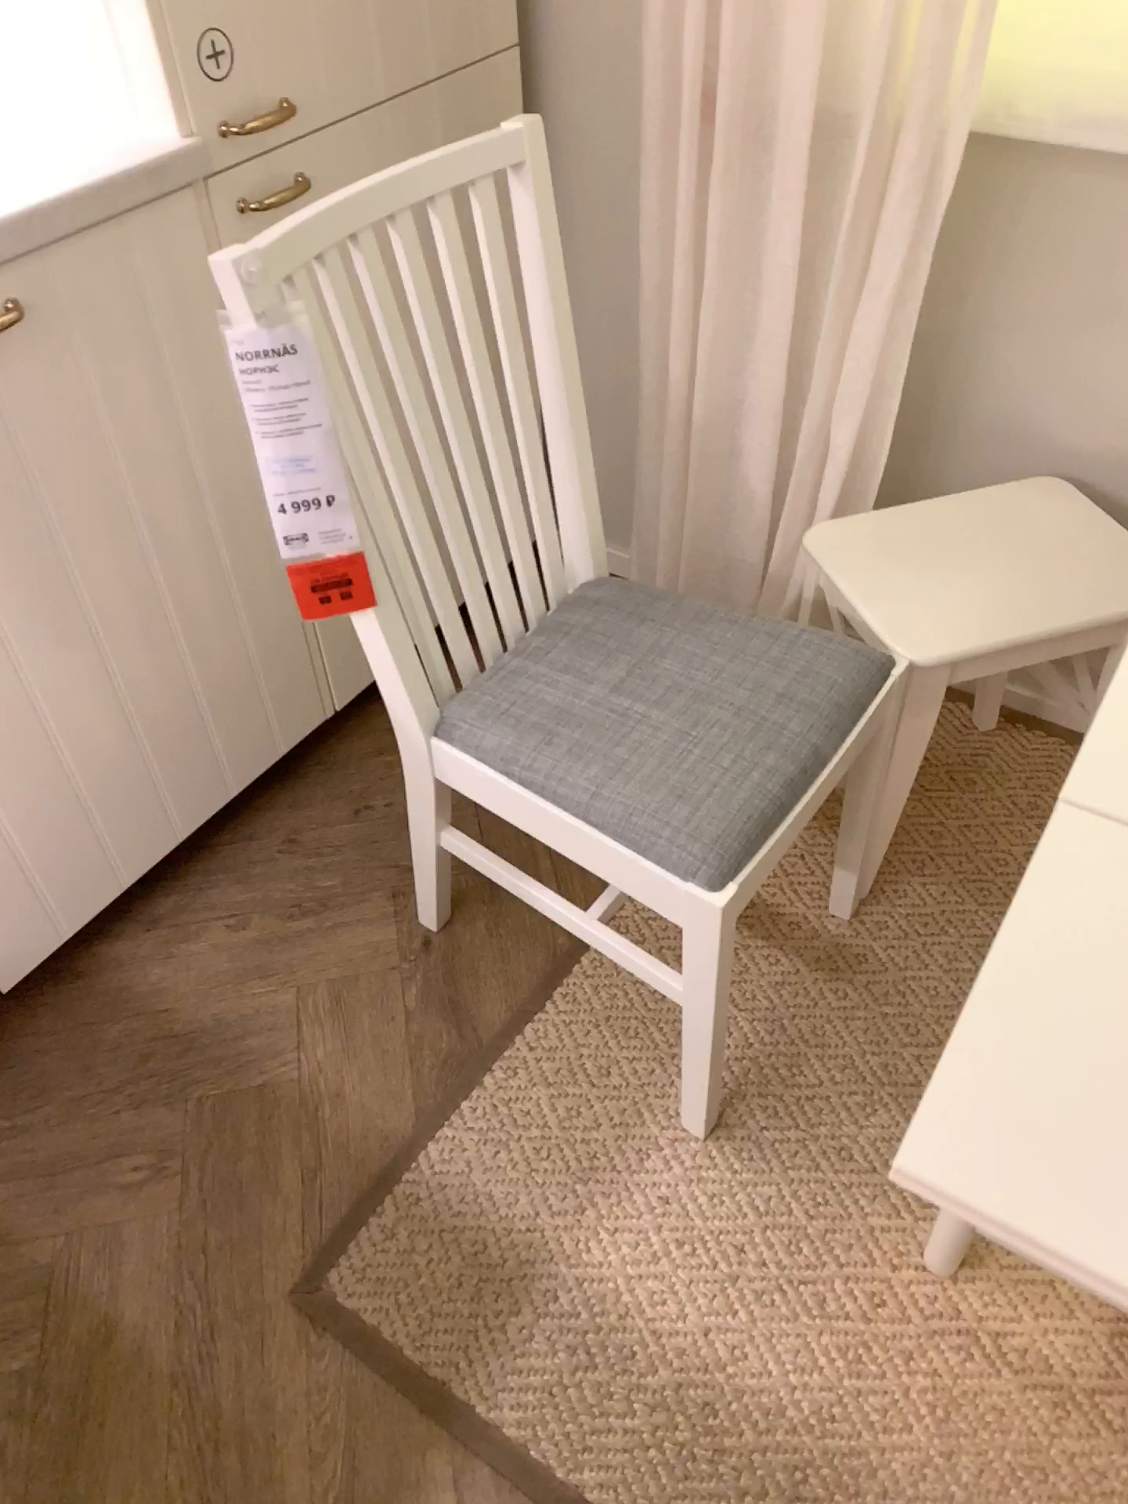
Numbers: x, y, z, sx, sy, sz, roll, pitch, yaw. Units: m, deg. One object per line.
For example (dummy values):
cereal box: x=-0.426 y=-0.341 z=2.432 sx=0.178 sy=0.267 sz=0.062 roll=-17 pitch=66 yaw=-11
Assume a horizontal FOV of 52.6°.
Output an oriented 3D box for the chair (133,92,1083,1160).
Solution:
chair: x=0.063 y=-0.131 z=1.307 sx=0.621 sy=0.915 sz=0.552 roll=25 pitch=51 yaw=26

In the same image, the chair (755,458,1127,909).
chair: x=0.580 y=-0.106 z=1.619 sx=0.460 sy=0.388 sz=0.402 roll=-13 pitch=45 yaw=-10
